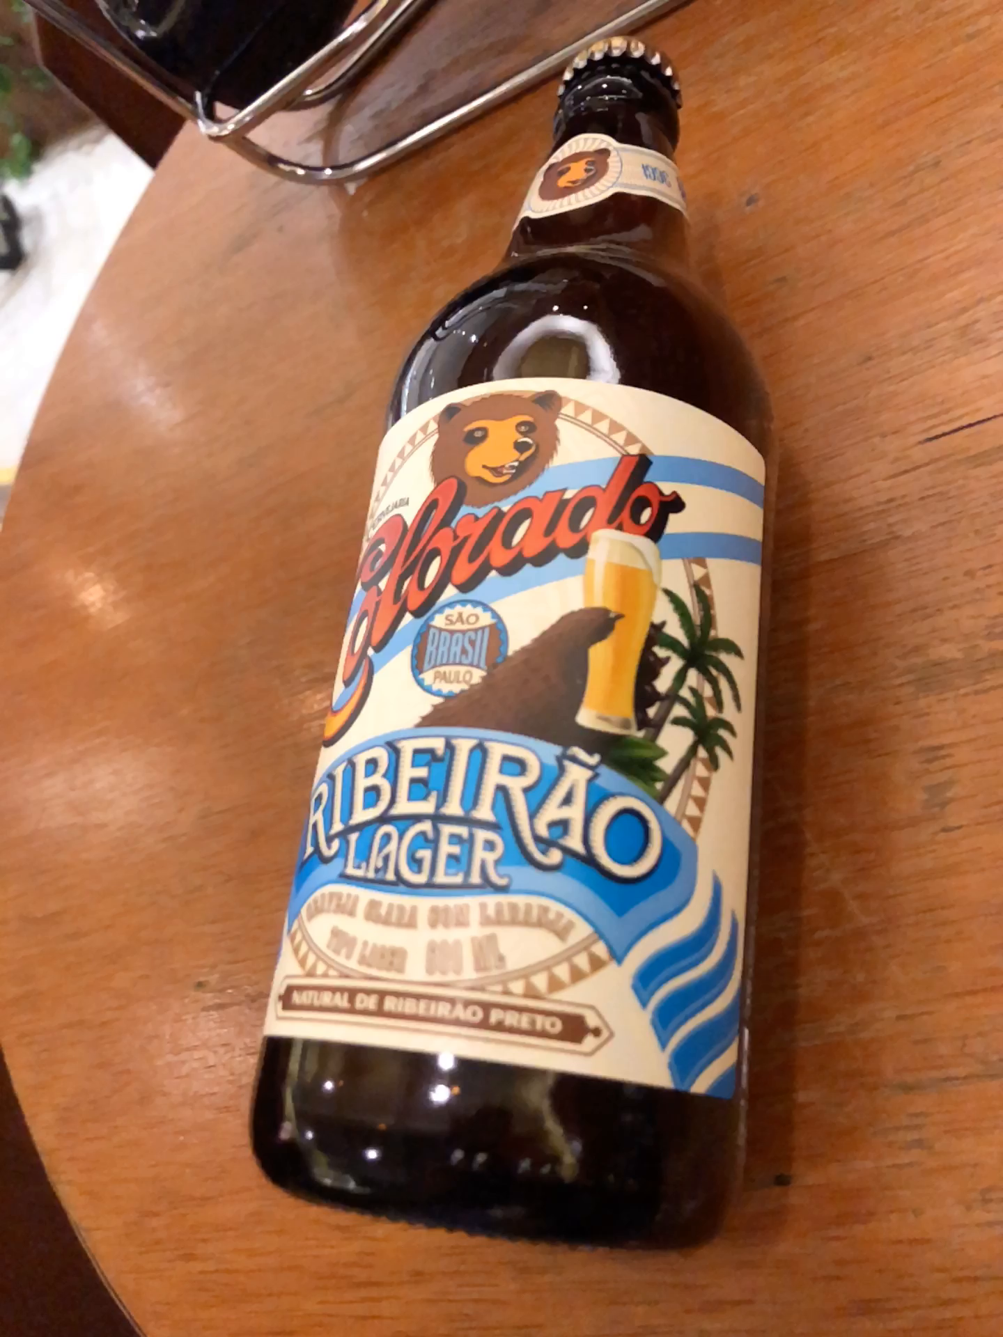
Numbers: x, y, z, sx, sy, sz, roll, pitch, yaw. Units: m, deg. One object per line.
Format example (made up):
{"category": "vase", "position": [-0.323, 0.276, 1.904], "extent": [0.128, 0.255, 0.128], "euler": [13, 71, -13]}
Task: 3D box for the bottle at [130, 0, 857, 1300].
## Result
{"category": "bottle", "position": [0.014, -0.035, 0.217], "extent": [0.090, 0.060, 0.261], "euler": [-7, 64, 33]}
